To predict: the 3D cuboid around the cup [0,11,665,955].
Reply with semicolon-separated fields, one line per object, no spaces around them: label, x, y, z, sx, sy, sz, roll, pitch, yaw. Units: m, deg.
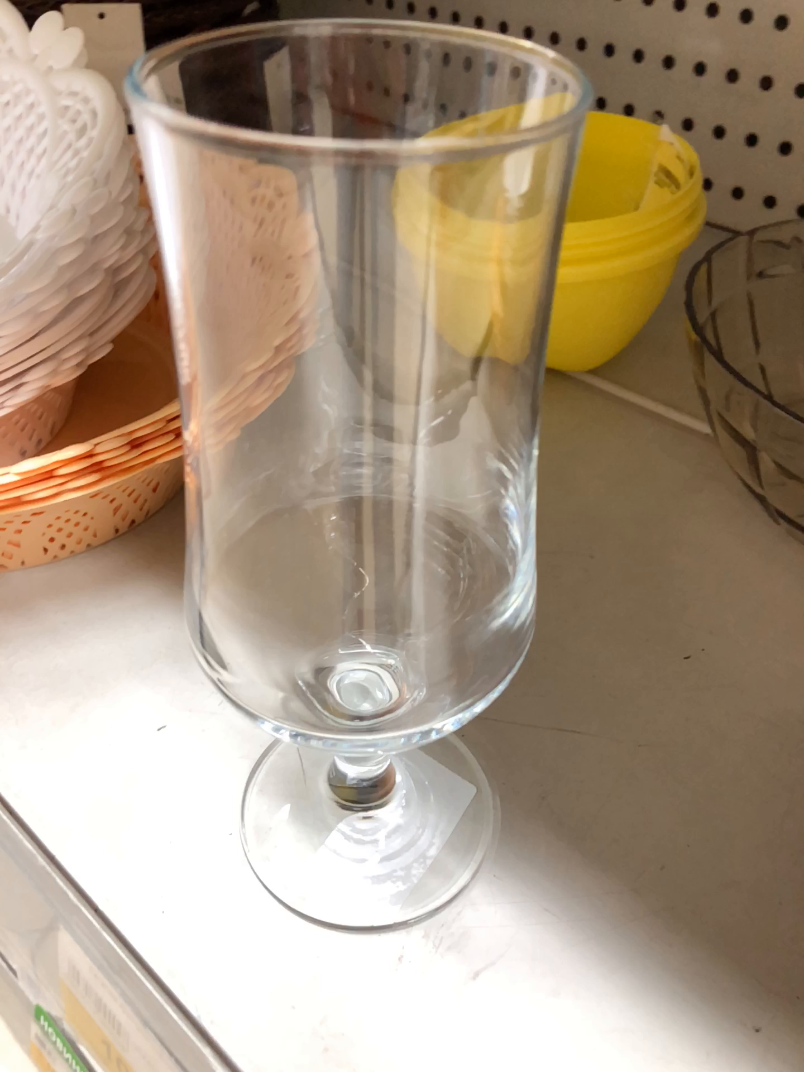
cup;-0.009;0.002;0.185;0.079;0.177;0.080;1;41;-1
